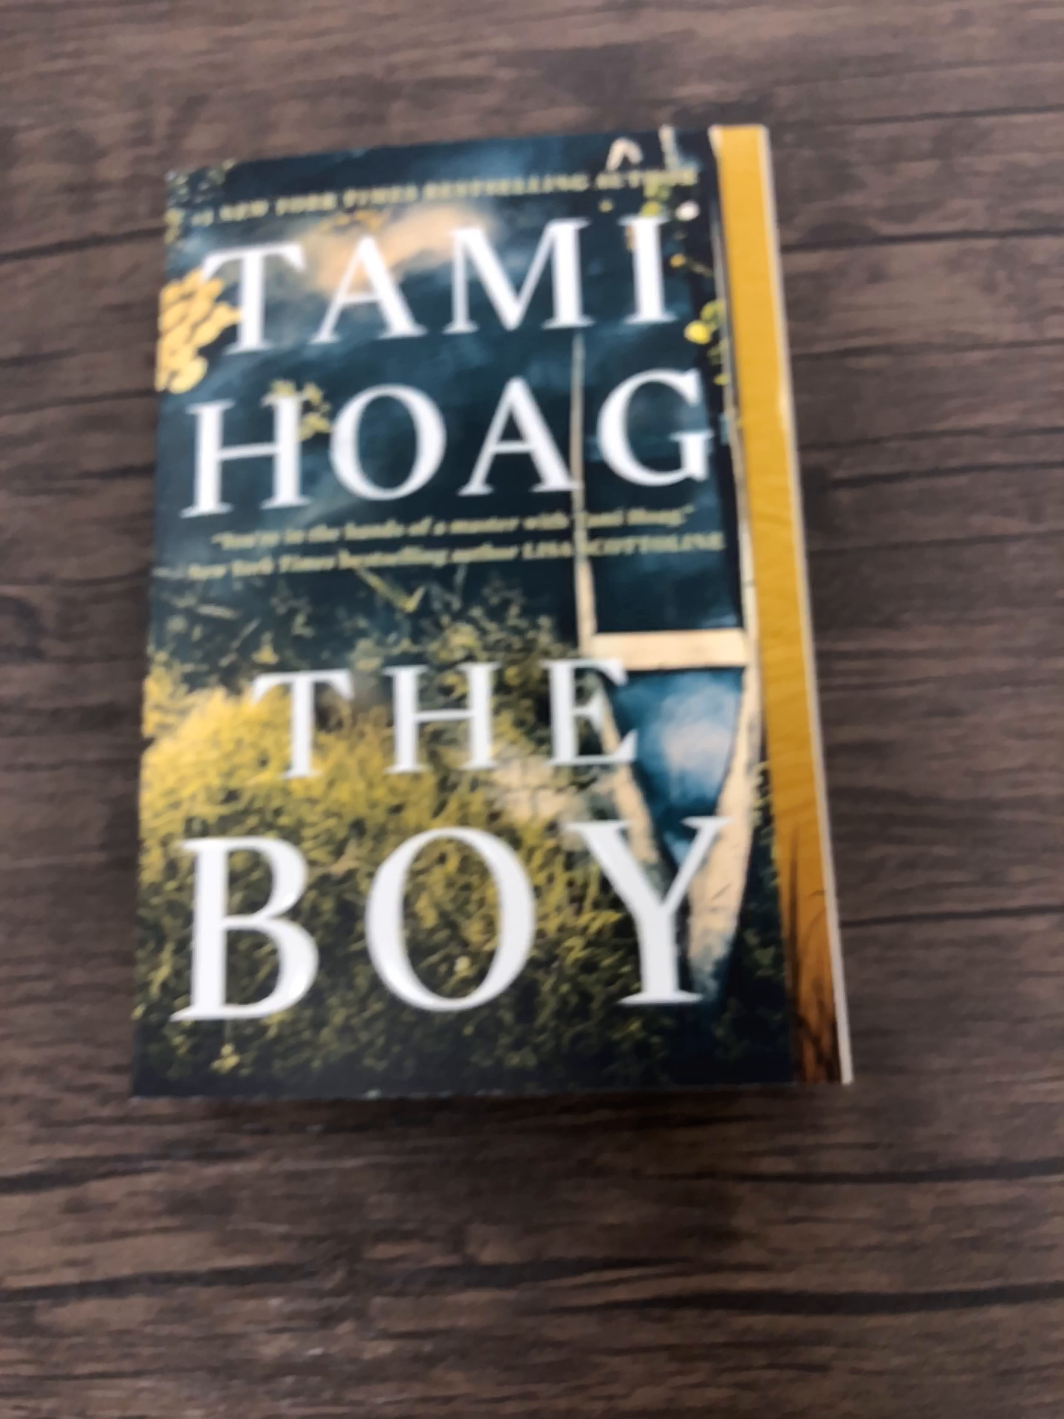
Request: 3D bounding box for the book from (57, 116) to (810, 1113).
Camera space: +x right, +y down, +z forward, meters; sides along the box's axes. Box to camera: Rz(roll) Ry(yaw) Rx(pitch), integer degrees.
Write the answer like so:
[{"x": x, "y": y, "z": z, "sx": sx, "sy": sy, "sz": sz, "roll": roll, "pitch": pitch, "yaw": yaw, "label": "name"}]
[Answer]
[{"x": -0.021, "y": -0.022, "z": 0.259, "sx": 0.139, "sy": 0.032, "sz": 0.202, "roll": -3, "pitch": 76, "yaw": 6, "label": "book"}]
